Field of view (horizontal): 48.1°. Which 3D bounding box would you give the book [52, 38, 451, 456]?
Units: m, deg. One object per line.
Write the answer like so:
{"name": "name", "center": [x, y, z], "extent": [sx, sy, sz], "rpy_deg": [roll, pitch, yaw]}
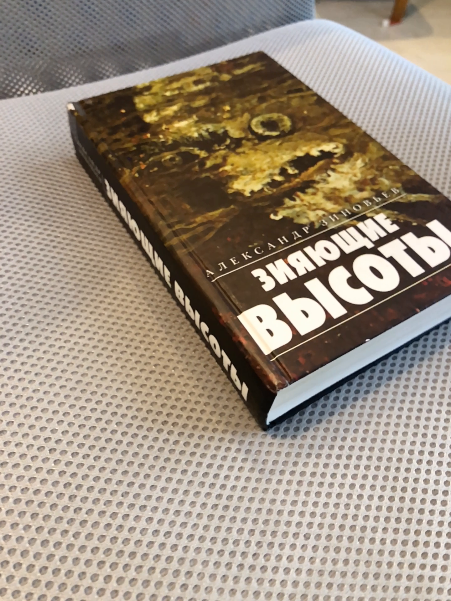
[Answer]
{"name": "book", "center": [0.021, -0.047, 0.251], "extent": [0.140, 0.040, 0.191], "rpy_deg": [-24, 63, -21]}
